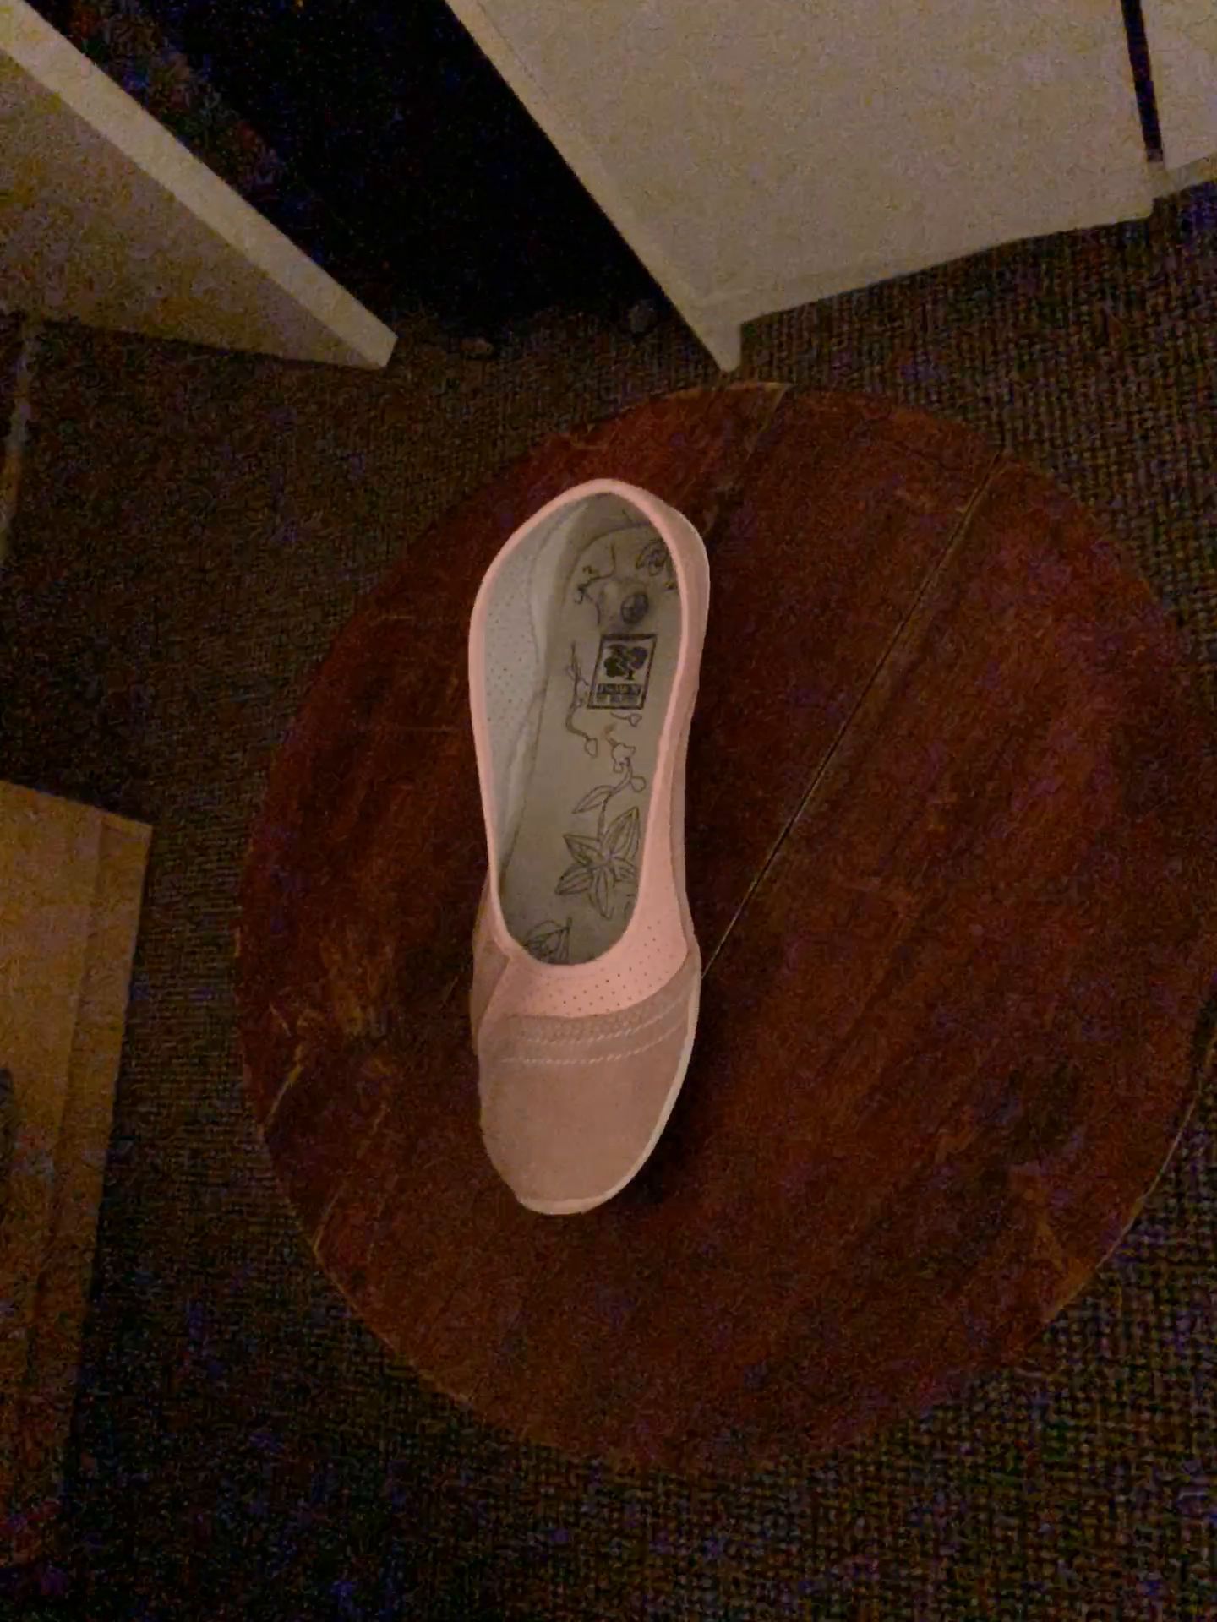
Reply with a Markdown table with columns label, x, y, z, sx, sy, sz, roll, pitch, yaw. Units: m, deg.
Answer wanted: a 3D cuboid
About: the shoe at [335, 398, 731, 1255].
| label | x | y | z | sx | sy | sz | roll | pitch | yaw |
| --- | --- | --- | --- | --- | --- | --- | --- | --- | --- |
| shoe | -0.019 | 0.004 | 0.431 | 0.090 | 0.070 | 0.271 | -4 | 73 | 29 |
